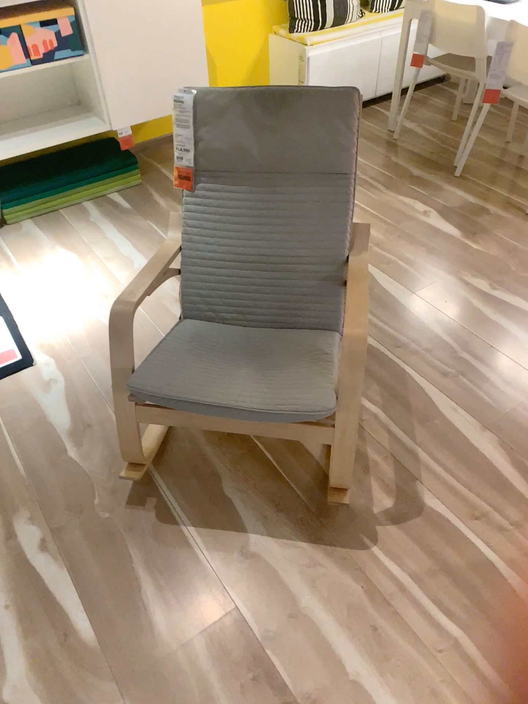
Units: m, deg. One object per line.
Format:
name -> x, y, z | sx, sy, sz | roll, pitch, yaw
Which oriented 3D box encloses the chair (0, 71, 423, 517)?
chair -> -0.043, -0.150, 1.472 | 0.730, 0.917, 0.722 | 5, 45, 7
